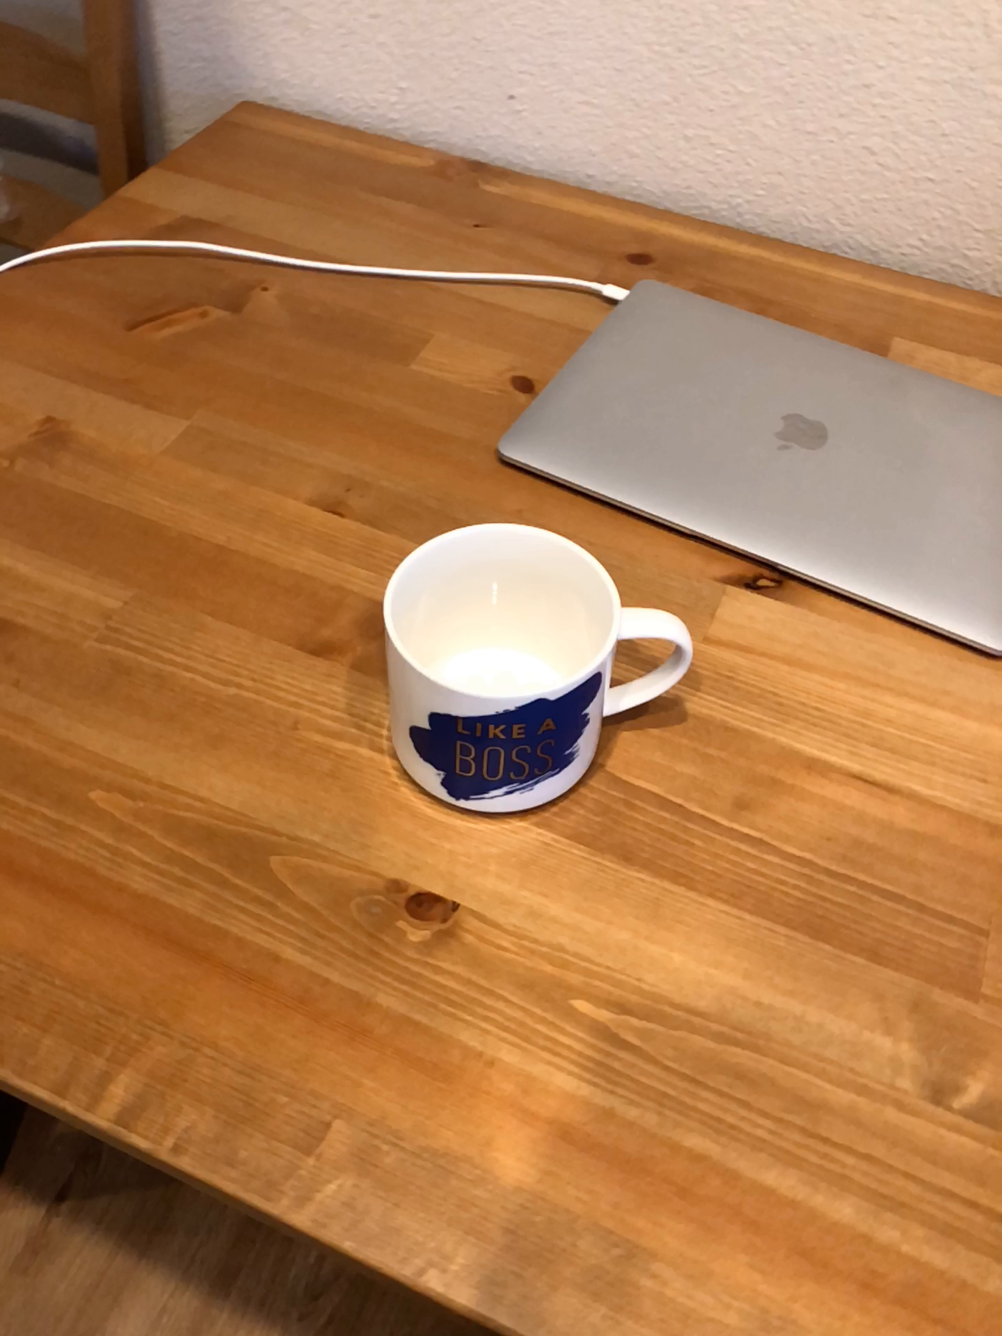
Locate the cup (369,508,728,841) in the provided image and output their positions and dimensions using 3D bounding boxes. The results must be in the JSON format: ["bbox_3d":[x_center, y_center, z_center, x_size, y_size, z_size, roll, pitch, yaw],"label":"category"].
[{"bbox_3d":[0.013,0.002,0.483,0.130,0.090,0.100,-5,50,-7],"label":"cup"}]
